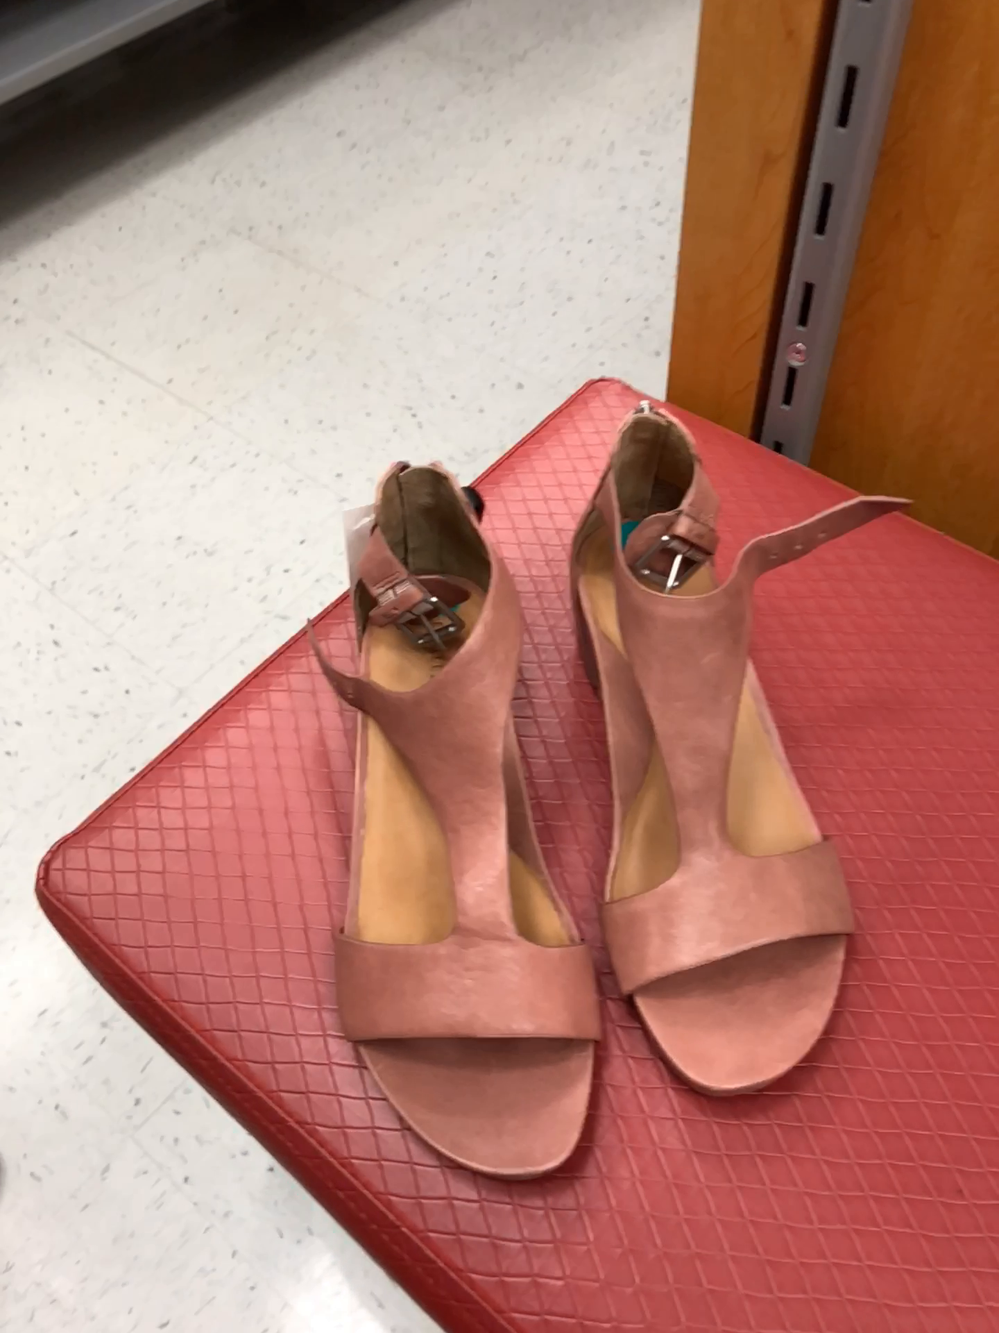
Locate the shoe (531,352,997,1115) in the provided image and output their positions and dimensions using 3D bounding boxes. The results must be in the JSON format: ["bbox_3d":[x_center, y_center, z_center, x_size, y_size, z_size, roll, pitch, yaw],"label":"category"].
[{"bbox_3d":[0.076,0.015,0.418,0.105,0.116,0.261,-4,54,1],"label":"shoe"}]

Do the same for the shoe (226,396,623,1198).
[{"bbox_3d":[-0.023,0.039,0.412,0.103,0.126,0.264,-4,54,1],"label":"shoe"}]
